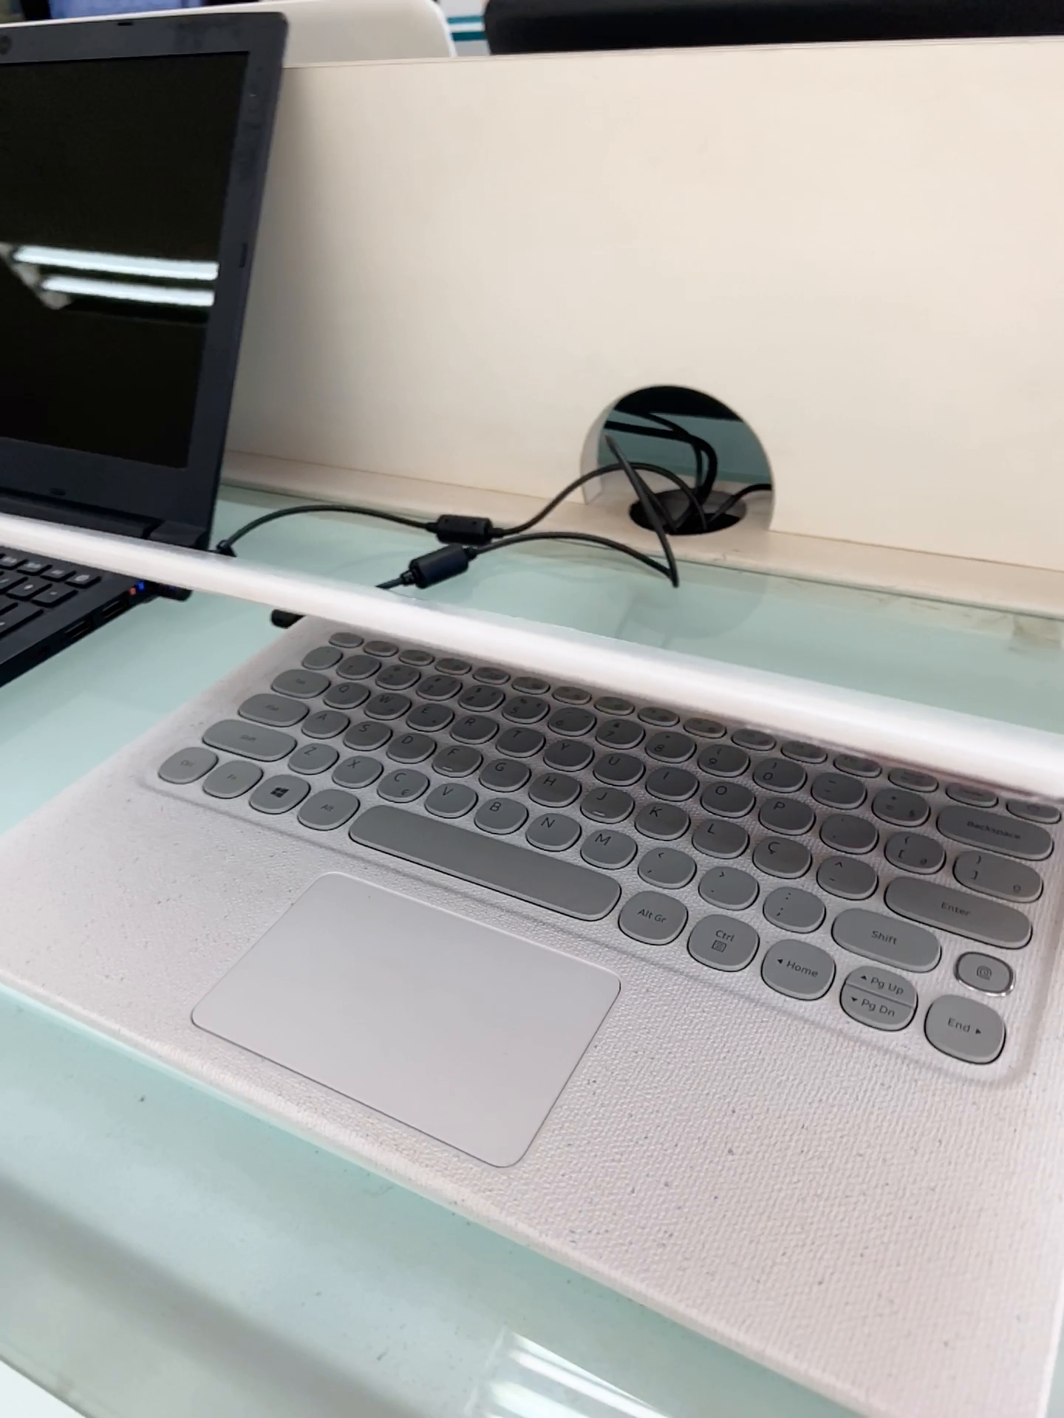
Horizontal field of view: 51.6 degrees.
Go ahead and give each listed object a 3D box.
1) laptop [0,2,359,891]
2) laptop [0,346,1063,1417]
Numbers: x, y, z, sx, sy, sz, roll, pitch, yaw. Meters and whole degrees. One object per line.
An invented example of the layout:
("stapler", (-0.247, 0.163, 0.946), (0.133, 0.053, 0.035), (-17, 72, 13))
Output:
("laptop", (-0.369, -0.172, 0.505), (0.401, 0.213, 0.375), (14, 38, 27))
("laptop", (-0.004, -0.004, 0.296), (0.312, 0.107, 0.207), (13, 38, 27))
